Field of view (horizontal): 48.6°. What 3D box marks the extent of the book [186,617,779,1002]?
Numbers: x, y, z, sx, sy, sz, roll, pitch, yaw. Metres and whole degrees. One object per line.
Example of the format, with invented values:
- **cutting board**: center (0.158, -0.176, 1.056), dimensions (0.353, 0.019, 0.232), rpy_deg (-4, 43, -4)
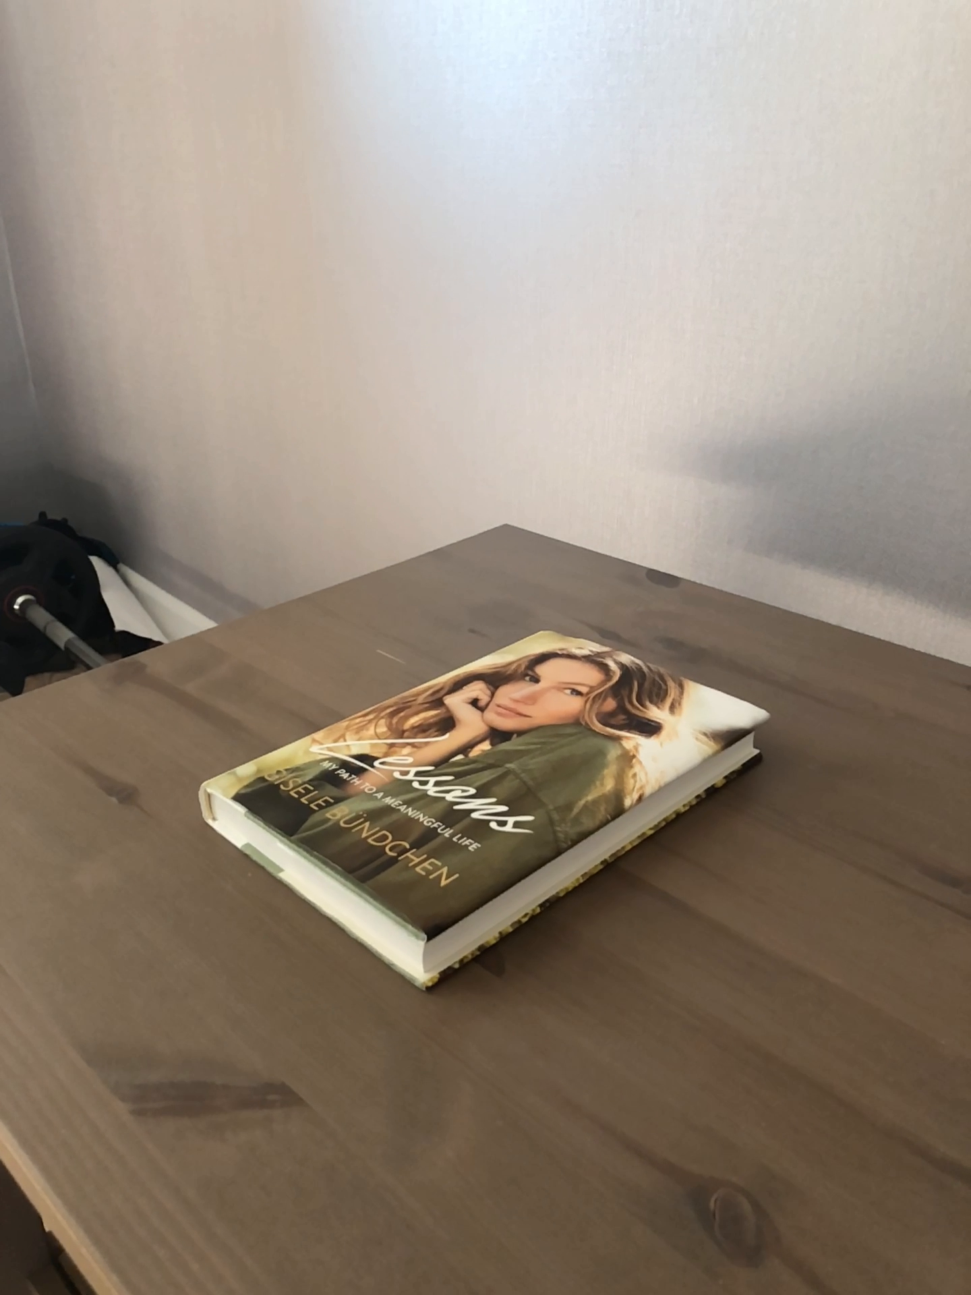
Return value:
- **book**: center (0.005, 0.055, 0.503), dimensions (0.160, 0.030, 0.228), rpy_deg (23, 34, 40)
